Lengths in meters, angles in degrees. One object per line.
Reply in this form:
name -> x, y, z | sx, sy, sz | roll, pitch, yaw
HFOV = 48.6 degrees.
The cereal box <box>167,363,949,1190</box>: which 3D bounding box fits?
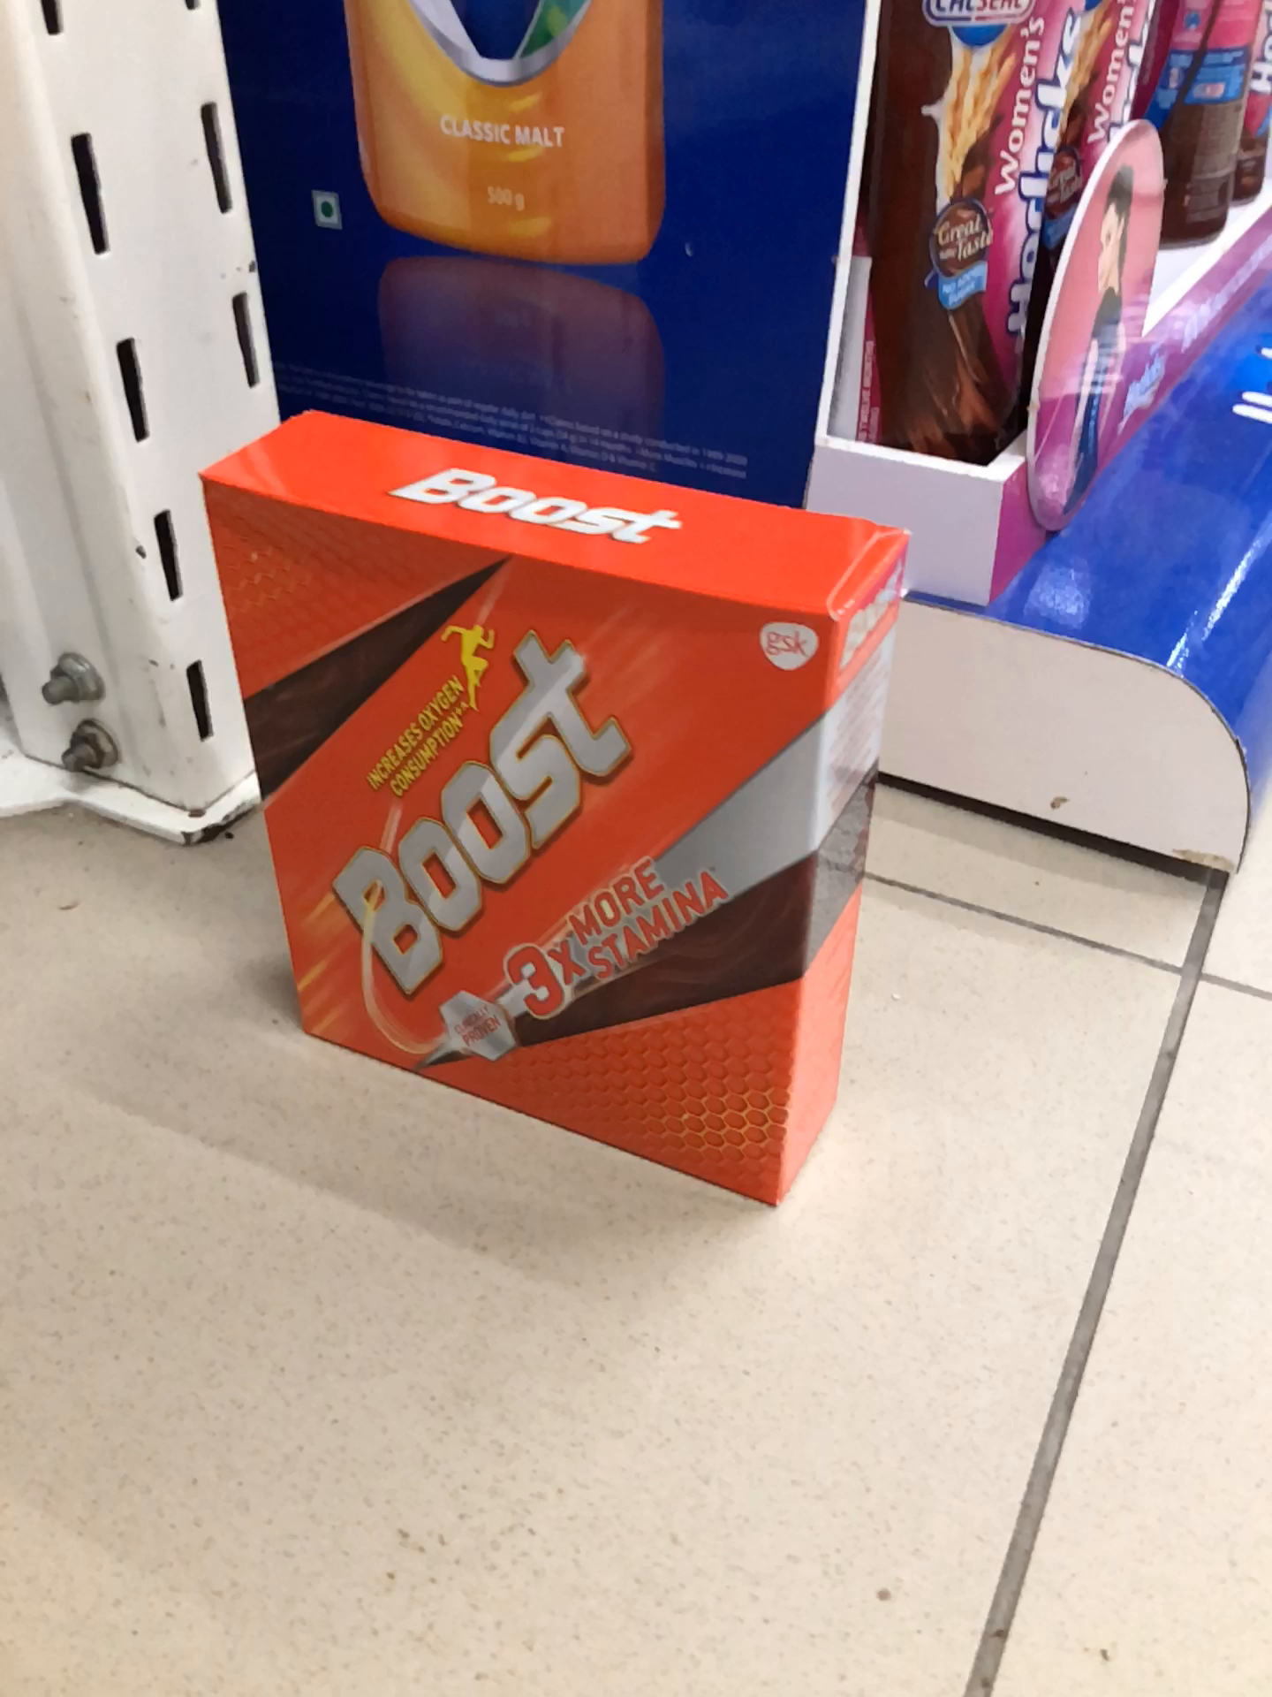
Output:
cereal box -> -0.018, -0.014, 0.354 | 0.160, 0.179, 0.050 | 13, 39, 16
